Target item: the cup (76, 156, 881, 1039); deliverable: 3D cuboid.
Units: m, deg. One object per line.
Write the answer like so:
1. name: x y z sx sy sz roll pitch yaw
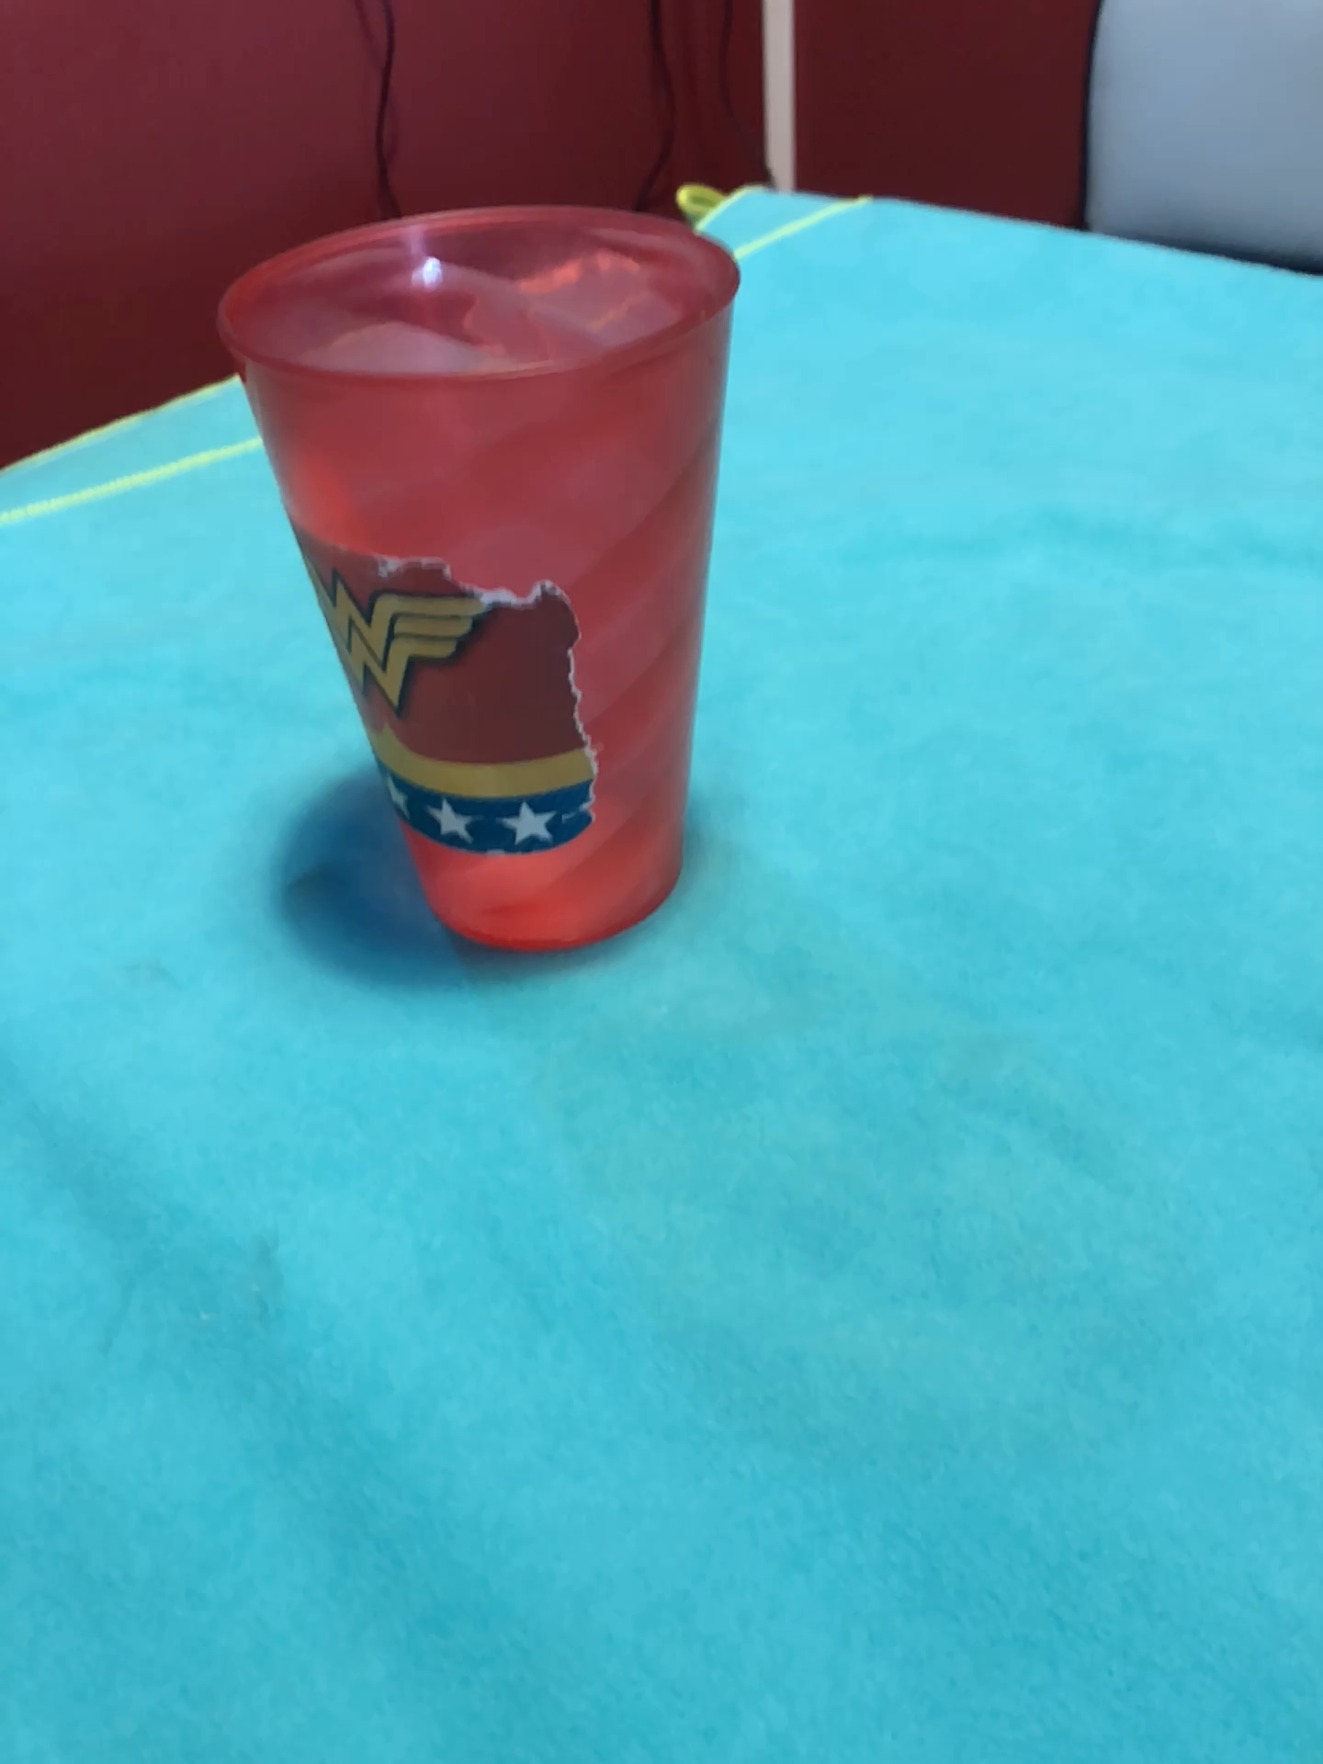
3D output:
1. cup: -0.026 -0.056 0.266 0.090 0.109 0.090 -3 39 2
